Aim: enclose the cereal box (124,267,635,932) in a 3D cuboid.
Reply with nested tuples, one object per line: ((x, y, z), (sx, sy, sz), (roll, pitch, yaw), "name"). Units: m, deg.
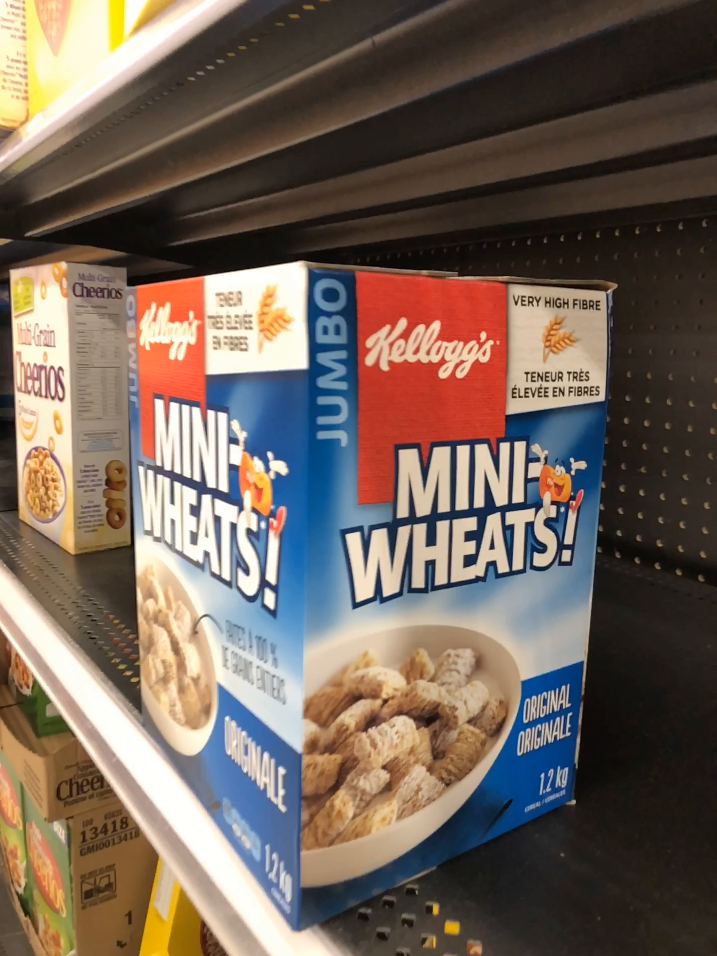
((-0.003, 0.028, 0.411), (0.170, 0.249, 0.201), (-6, 12, -33), "cereal box")
